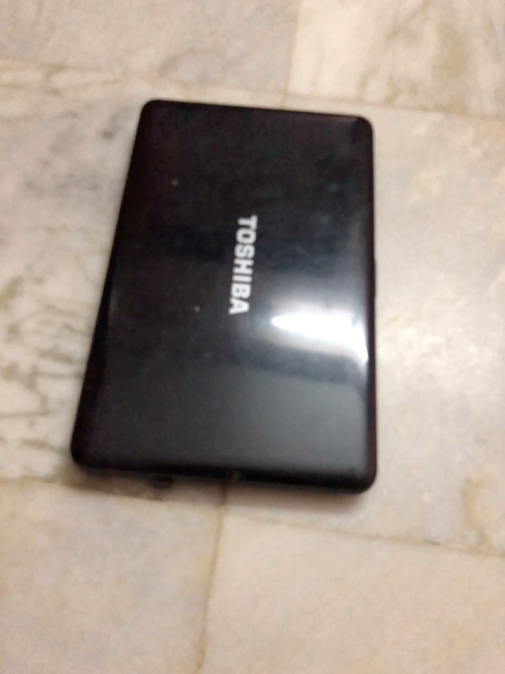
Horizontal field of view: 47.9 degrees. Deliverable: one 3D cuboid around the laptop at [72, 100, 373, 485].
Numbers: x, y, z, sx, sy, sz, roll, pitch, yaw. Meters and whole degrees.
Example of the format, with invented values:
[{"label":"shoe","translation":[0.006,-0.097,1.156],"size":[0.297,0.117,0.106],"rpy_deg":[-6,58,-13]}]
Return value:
[{"label":"laptop","translation":[-0.008,-0.062,0.497],"size":[0.224,0.004,0.360],"rpy_deg":[5,66,0]}]
